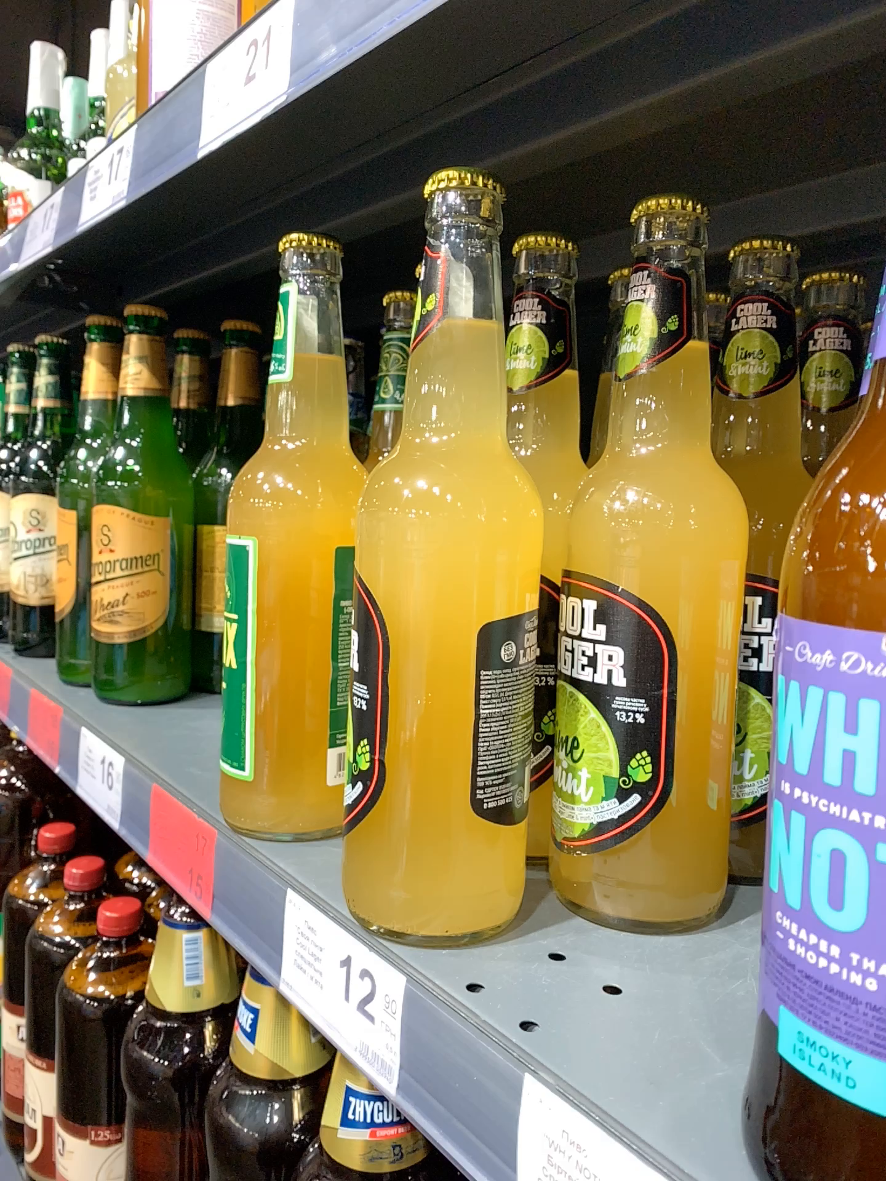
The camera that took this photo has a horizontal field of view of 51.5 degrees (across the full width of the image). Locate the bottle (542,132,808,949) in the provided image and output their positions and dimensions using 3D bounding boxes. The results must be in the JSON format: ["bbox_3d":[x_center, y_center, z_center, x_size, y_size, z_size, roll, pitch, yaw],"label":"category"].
[{"bbox_3d":[0.076,-0.015,0.326,0.069,0.259,0.063,2,5,0],"label":"bottle"}]

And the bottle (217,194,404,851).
[{"bbox_3d":[-0.056,-0.028,0.405,0.064,0.259,0.078,2,5,3],"label":"bottle"}]

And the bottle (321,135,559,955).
[{"bbox_3d":[-0.001,-0.013,0.307,0.065,0.244,0.063,2,5,0],"label":"bottle"}]
